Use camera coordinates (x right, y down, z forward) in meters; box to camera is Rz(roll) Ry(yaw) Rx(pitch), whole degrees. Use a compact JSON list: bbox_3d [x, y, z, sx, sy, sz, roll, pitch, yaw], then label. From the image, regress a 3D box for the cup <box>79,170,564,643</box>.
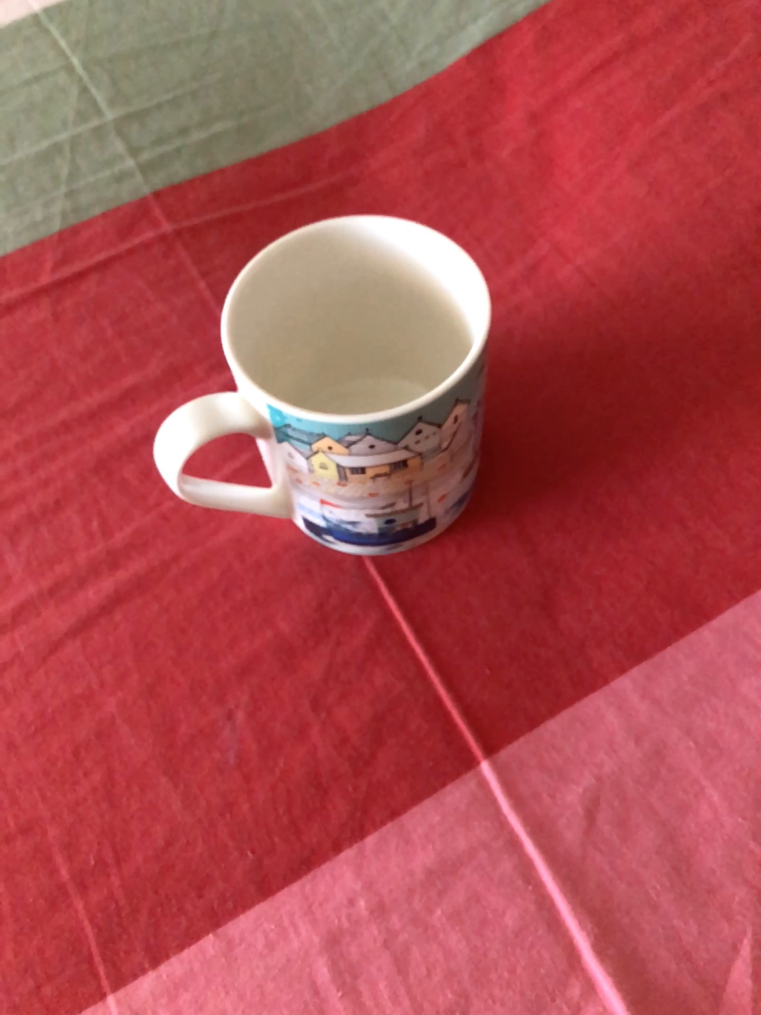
[{"bbox_3d":[-0.018,-0.034,0.295,0.120,0.080,0.094,-26,62,-9],"label":"cup"}]
